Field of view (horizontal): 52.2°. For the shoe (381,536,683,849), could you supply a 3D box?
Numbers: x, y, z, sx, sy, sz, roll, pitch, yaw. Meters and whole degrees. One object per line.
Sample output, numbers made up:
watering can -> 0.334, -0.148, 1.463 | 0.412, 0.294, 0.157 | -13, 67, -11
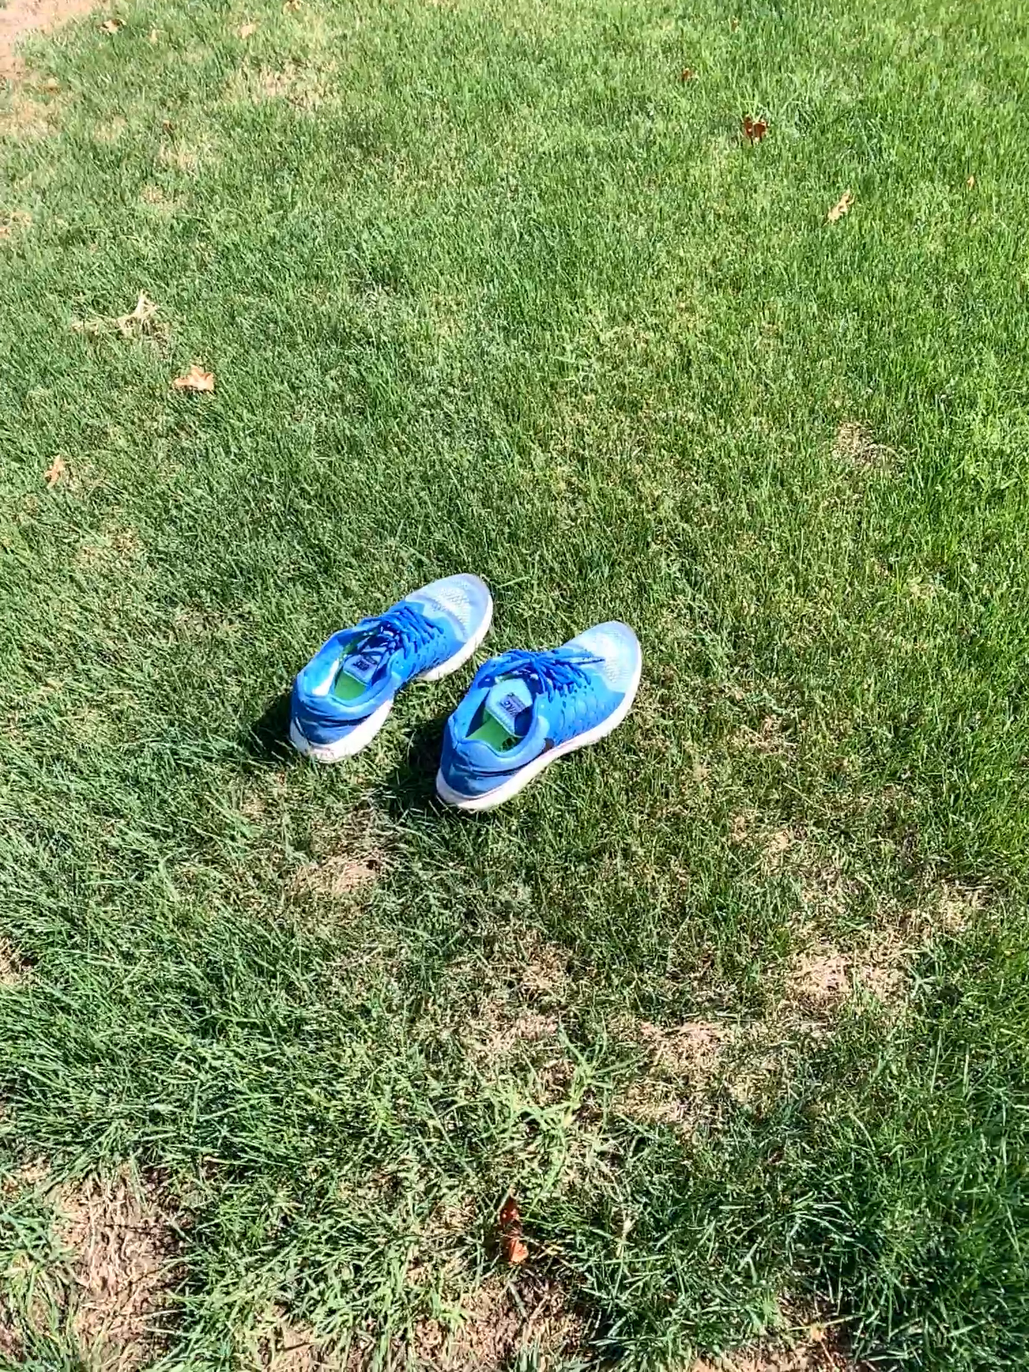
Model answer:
shoe -> 0.026, 0.002, 1.088 | 0.290, 0.140, 0.130 | -39, 58, -23

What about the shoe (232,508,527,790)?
shoe -> -0.135, -0.045, 1.133 | 0.290, 0.120, 0.120 | -39, 58, -23
